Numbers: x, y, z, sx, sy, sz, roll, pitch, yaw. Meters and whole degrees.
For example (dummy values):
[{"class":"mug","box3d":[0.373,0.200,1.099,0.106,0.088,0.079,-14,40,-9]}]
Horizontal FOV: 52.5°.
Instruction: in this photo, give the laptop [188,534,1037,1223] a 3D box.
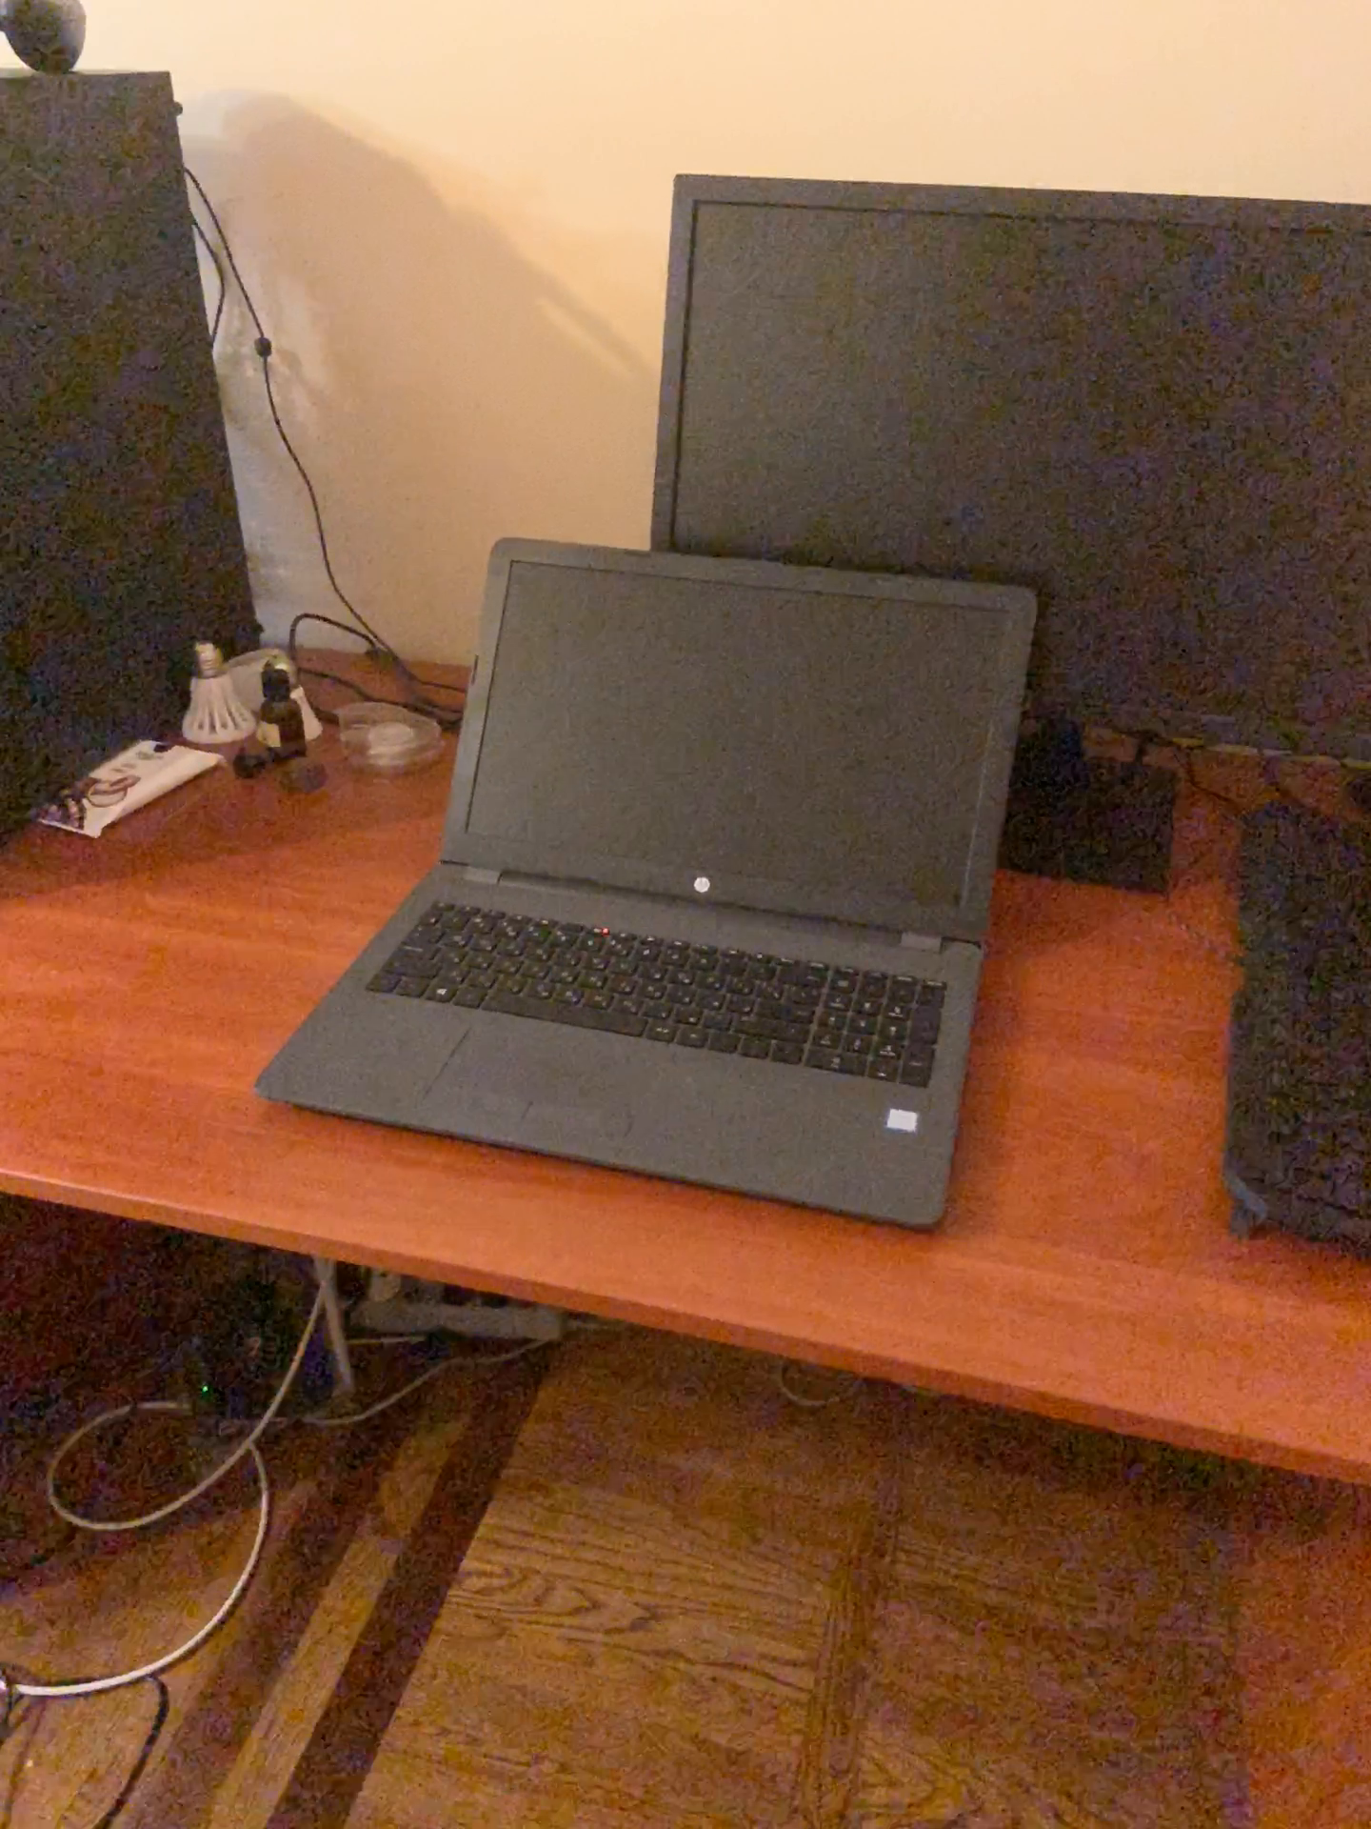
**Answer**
[{"class":"laptop","box3d":[-0.004,-0.059,0.822,0.372,0.188,0.393,9,33,12]}]
